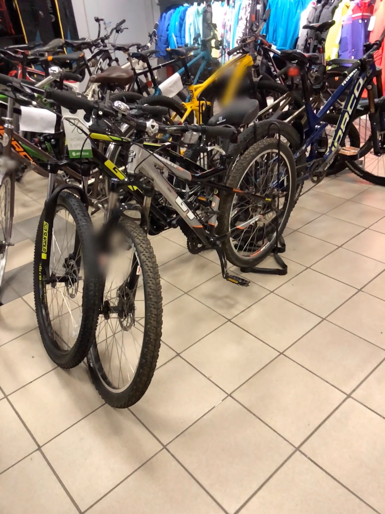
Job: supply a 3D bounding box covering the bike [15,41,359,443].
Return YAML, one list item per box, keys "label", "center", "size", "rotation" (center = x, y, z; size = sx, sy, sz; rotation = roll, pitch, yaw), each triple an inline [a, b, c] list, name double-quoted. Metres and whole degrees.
- label: "bike"
  center: [0.180, -0.278, 1.683]
  size: [0.625, 1.012, 1.430]
  rotation: [12, 31, 26]
